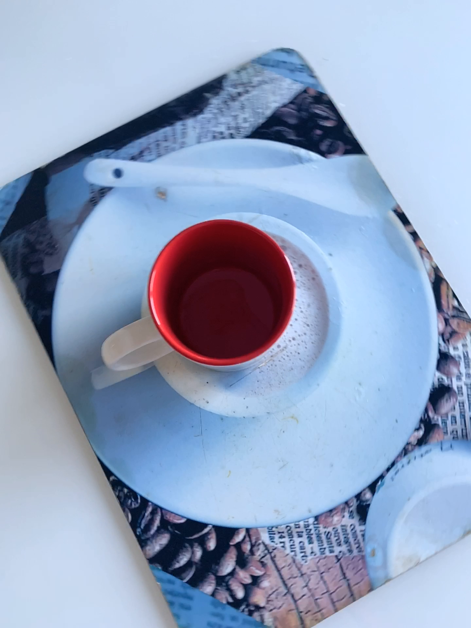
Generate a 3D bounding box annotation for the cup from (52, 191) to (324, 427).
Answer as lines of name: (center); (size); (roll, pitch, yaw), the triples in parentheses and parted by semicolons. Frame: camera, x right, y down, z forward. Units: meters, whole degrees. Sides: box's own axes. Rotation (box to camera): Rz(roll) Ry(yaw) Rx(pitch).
cup: (-0.024, 0.004, 0.304); (0.117, 0.115, 0.077); (-26, 81, -3)
